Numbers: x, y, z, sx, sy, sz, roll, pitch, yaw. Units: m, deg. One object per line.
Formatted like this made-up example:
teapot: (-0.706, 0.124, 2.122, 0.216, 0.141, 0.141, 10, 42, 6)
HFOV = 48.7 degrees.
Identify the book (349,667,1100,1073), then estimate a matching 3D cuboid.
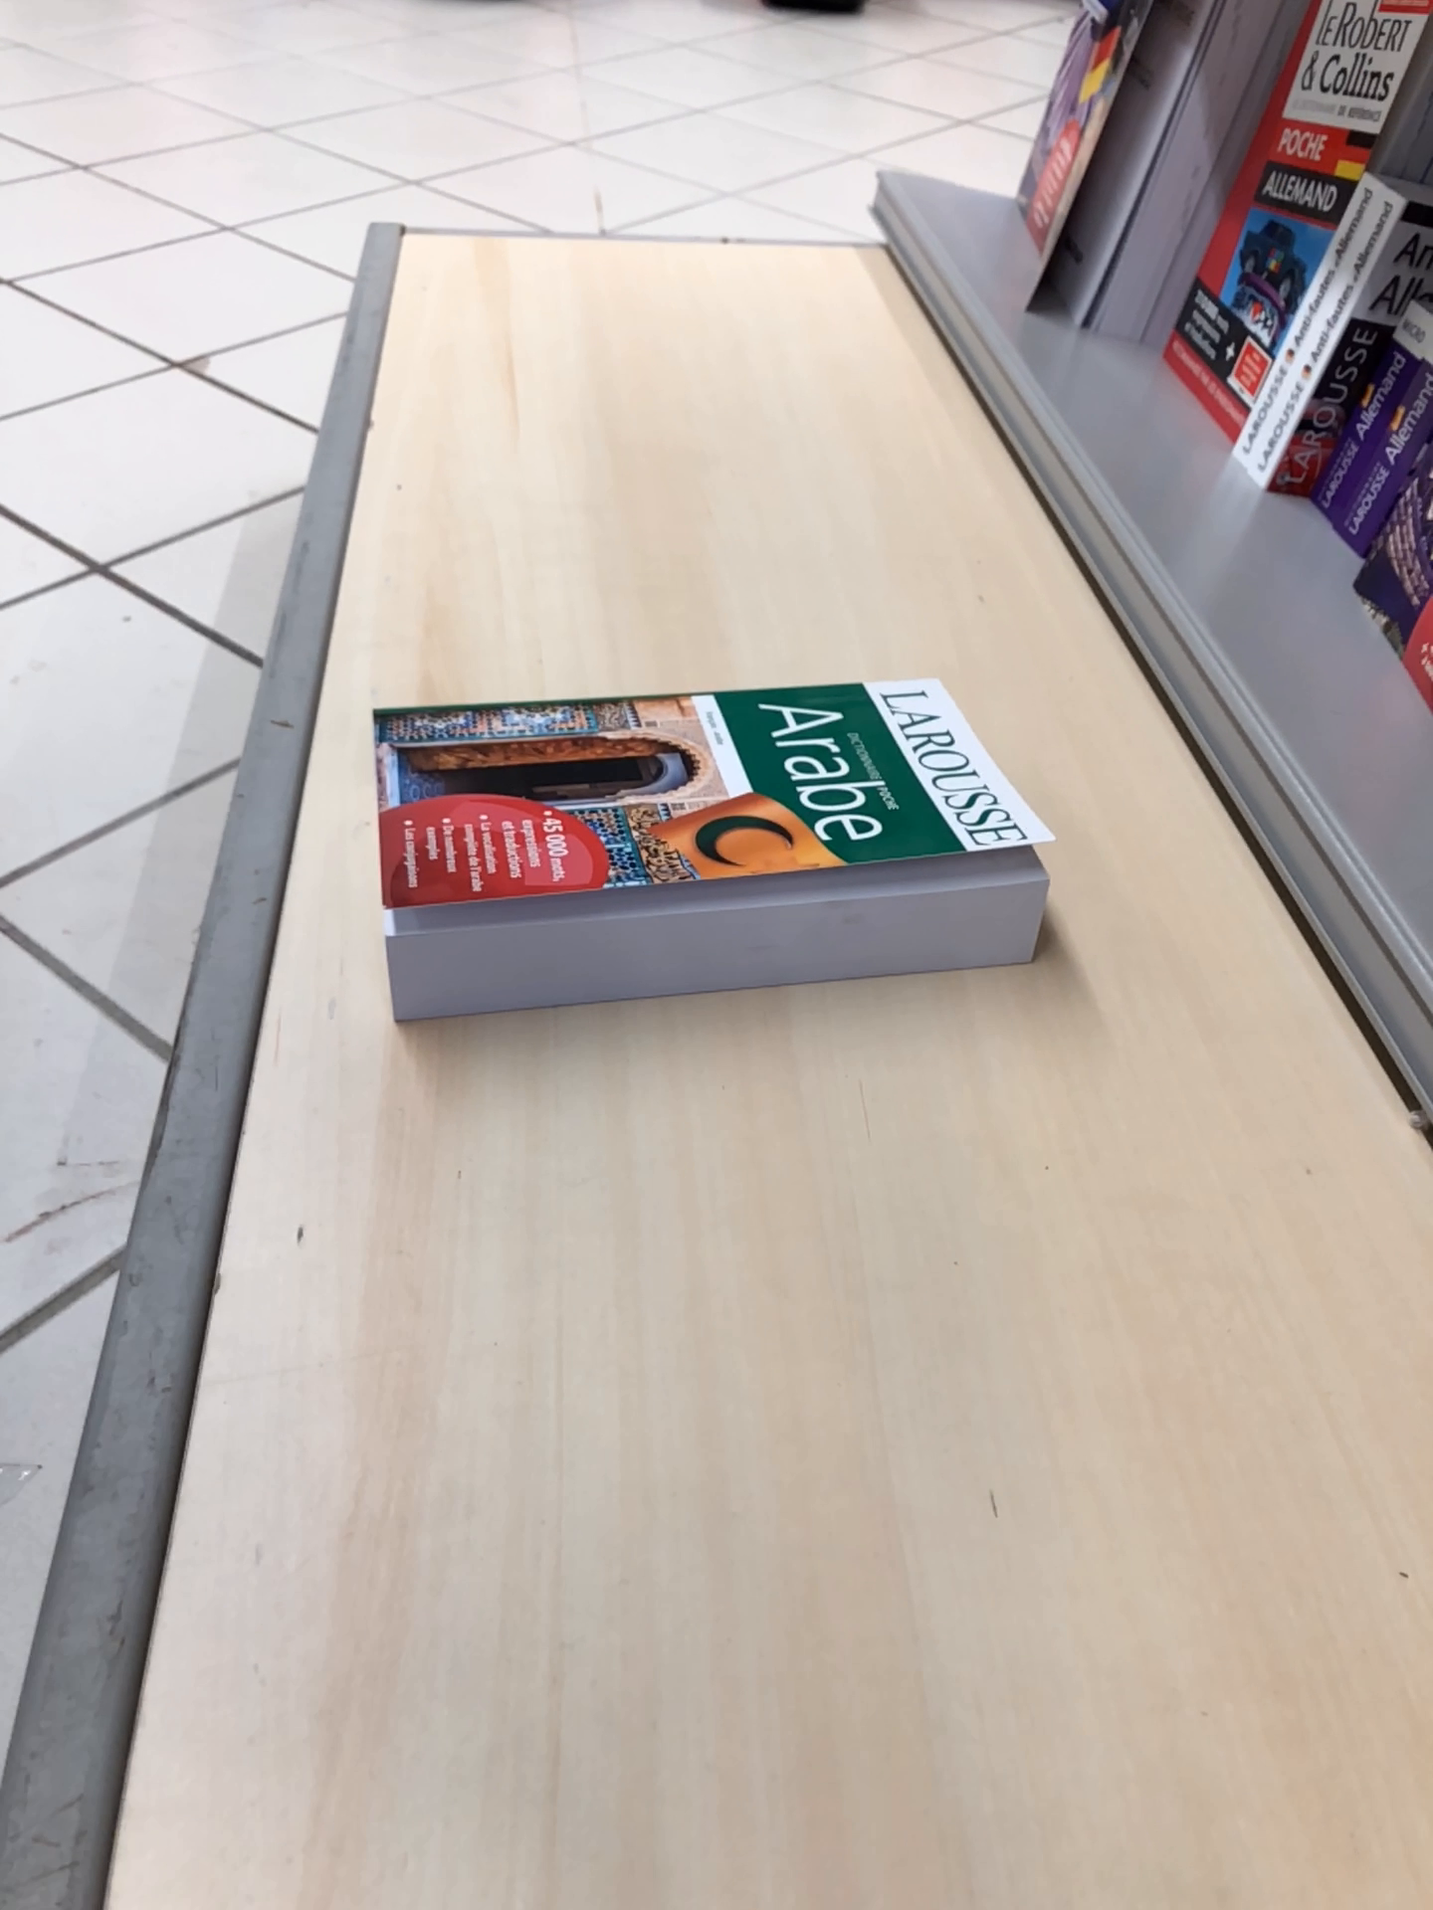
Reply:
book: (-0.004, -0.029, 0.434, 0.182, 0.045, 0.111, -3, 41, -9)
